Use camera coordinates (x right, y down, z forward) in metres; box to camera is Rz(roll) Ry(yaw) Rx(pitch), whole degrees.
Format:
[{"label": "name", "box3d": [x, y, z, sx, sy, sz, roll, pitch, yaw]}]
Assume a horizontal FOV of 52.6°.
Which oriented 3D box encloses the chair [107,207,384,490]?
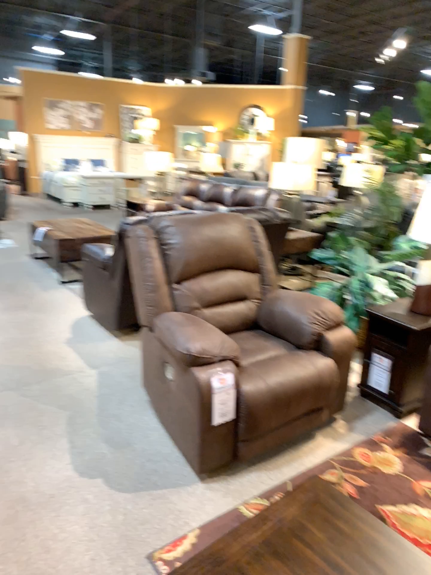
[{"label": "chair", "box3d": [0.084, 0.165, 2.412, 1.002, 1.028, 1.067, -9, 21, -32]}]
